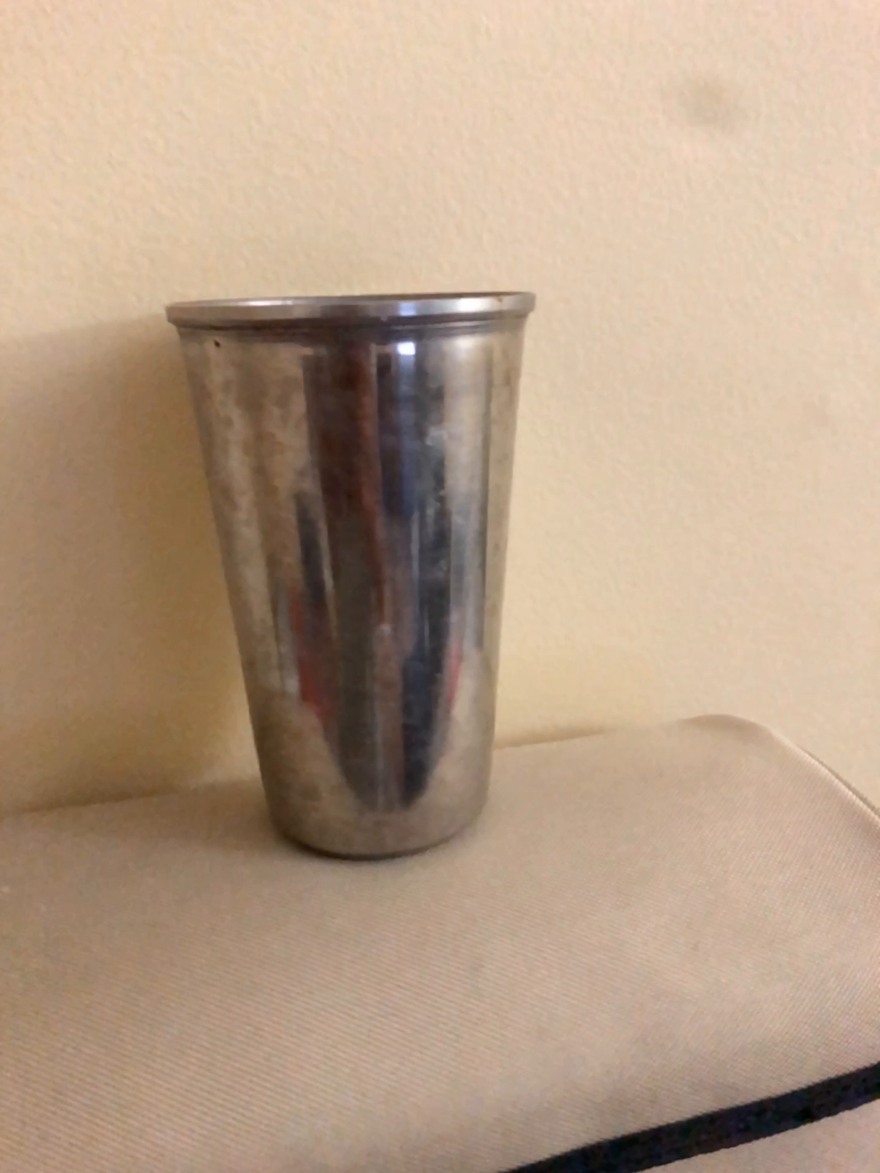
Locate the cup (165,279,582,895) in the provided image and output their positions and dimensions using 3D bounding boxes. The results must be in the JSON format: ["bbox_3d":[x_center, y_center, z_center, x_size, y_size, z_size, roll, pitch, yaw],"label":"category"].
[{"bbox_3d":[-0.018,-0.007,0.220,0.074,0.113,0.073,-1,15,0],"label":"cup"}]
